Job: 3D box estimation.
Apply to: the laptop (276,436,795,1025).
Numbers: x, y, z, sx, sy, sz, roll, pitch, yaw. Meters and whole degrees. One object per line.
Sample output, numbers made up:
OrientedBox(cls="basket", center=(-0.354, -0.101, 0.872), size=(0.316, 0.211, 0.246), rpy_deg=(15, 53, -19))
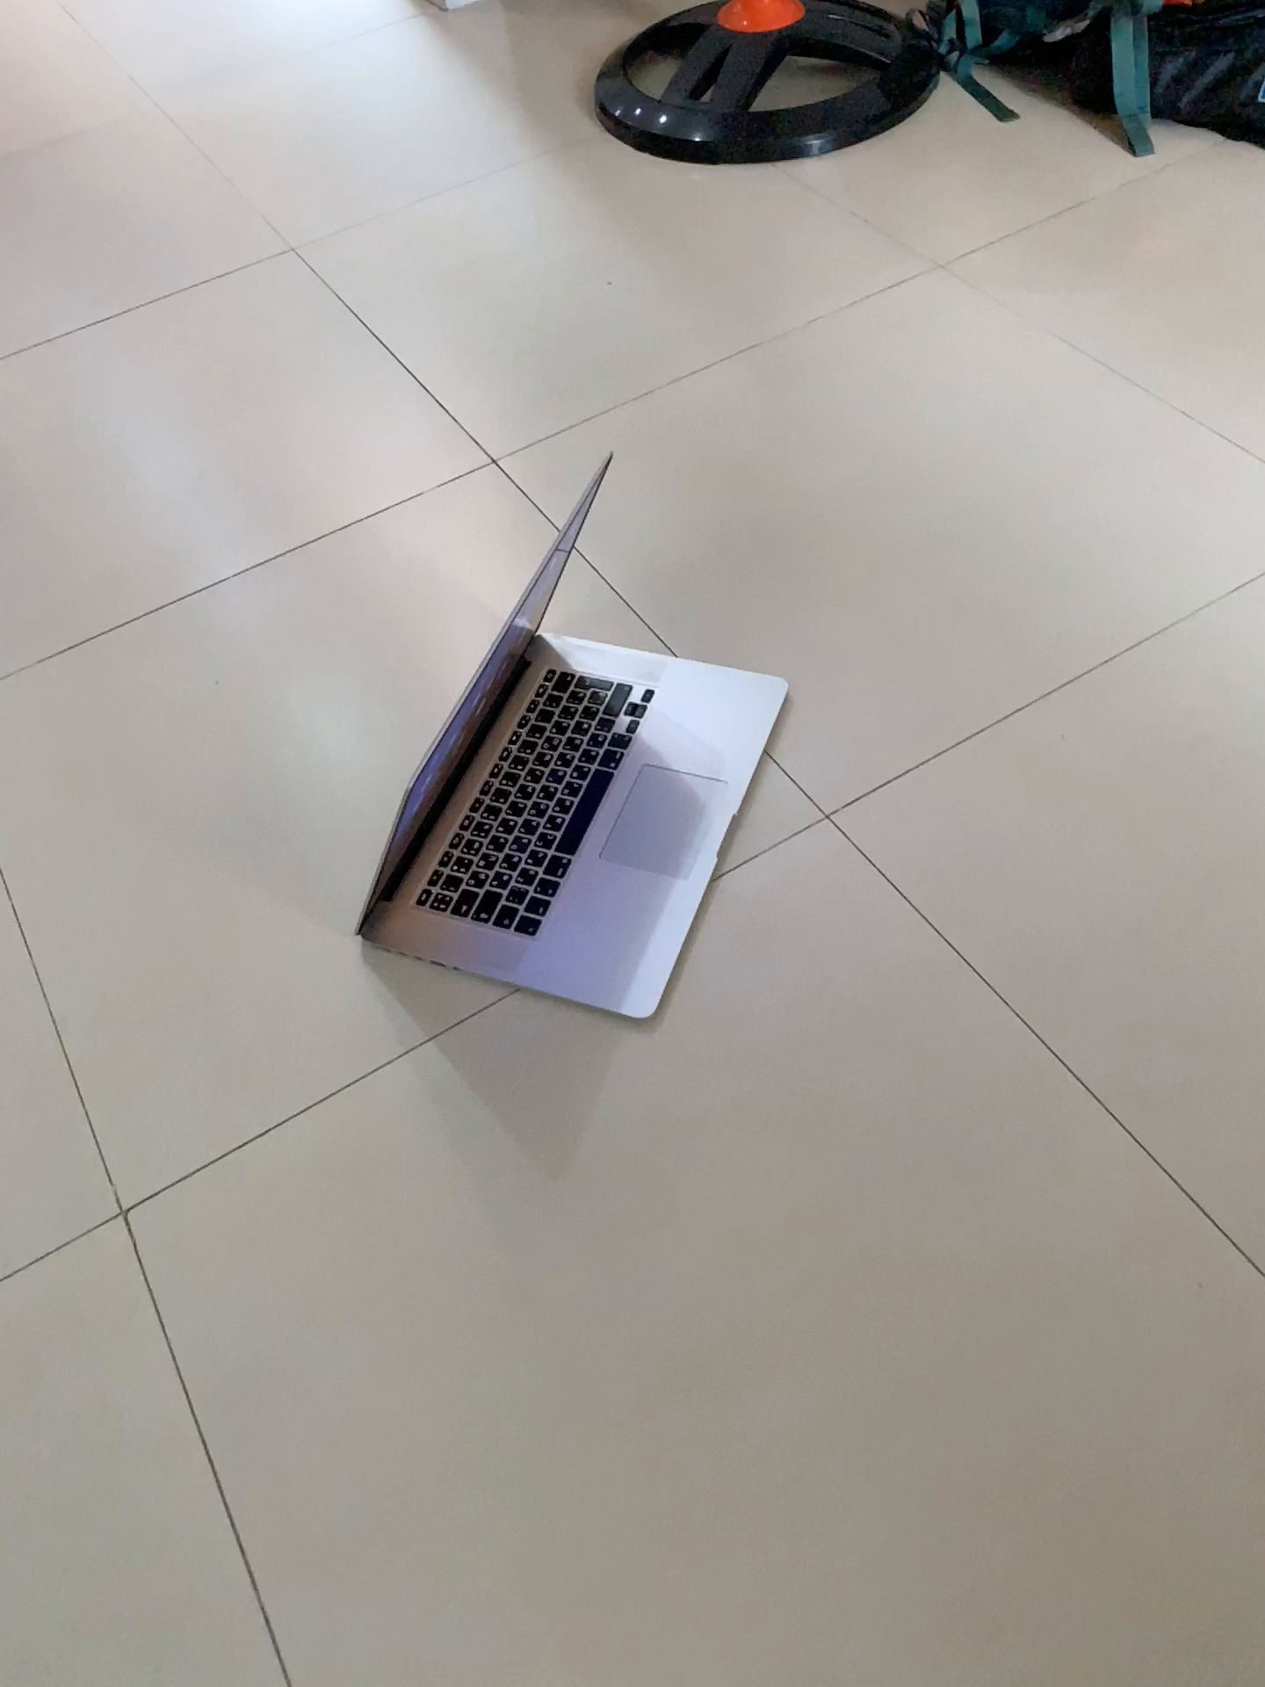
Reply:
OrientedBox(cls="laptop", center=(-0.045, -0.098, 0.980), size=(0.241, 0.207, 0.360), rpy_deg=(13, 55, 17))
